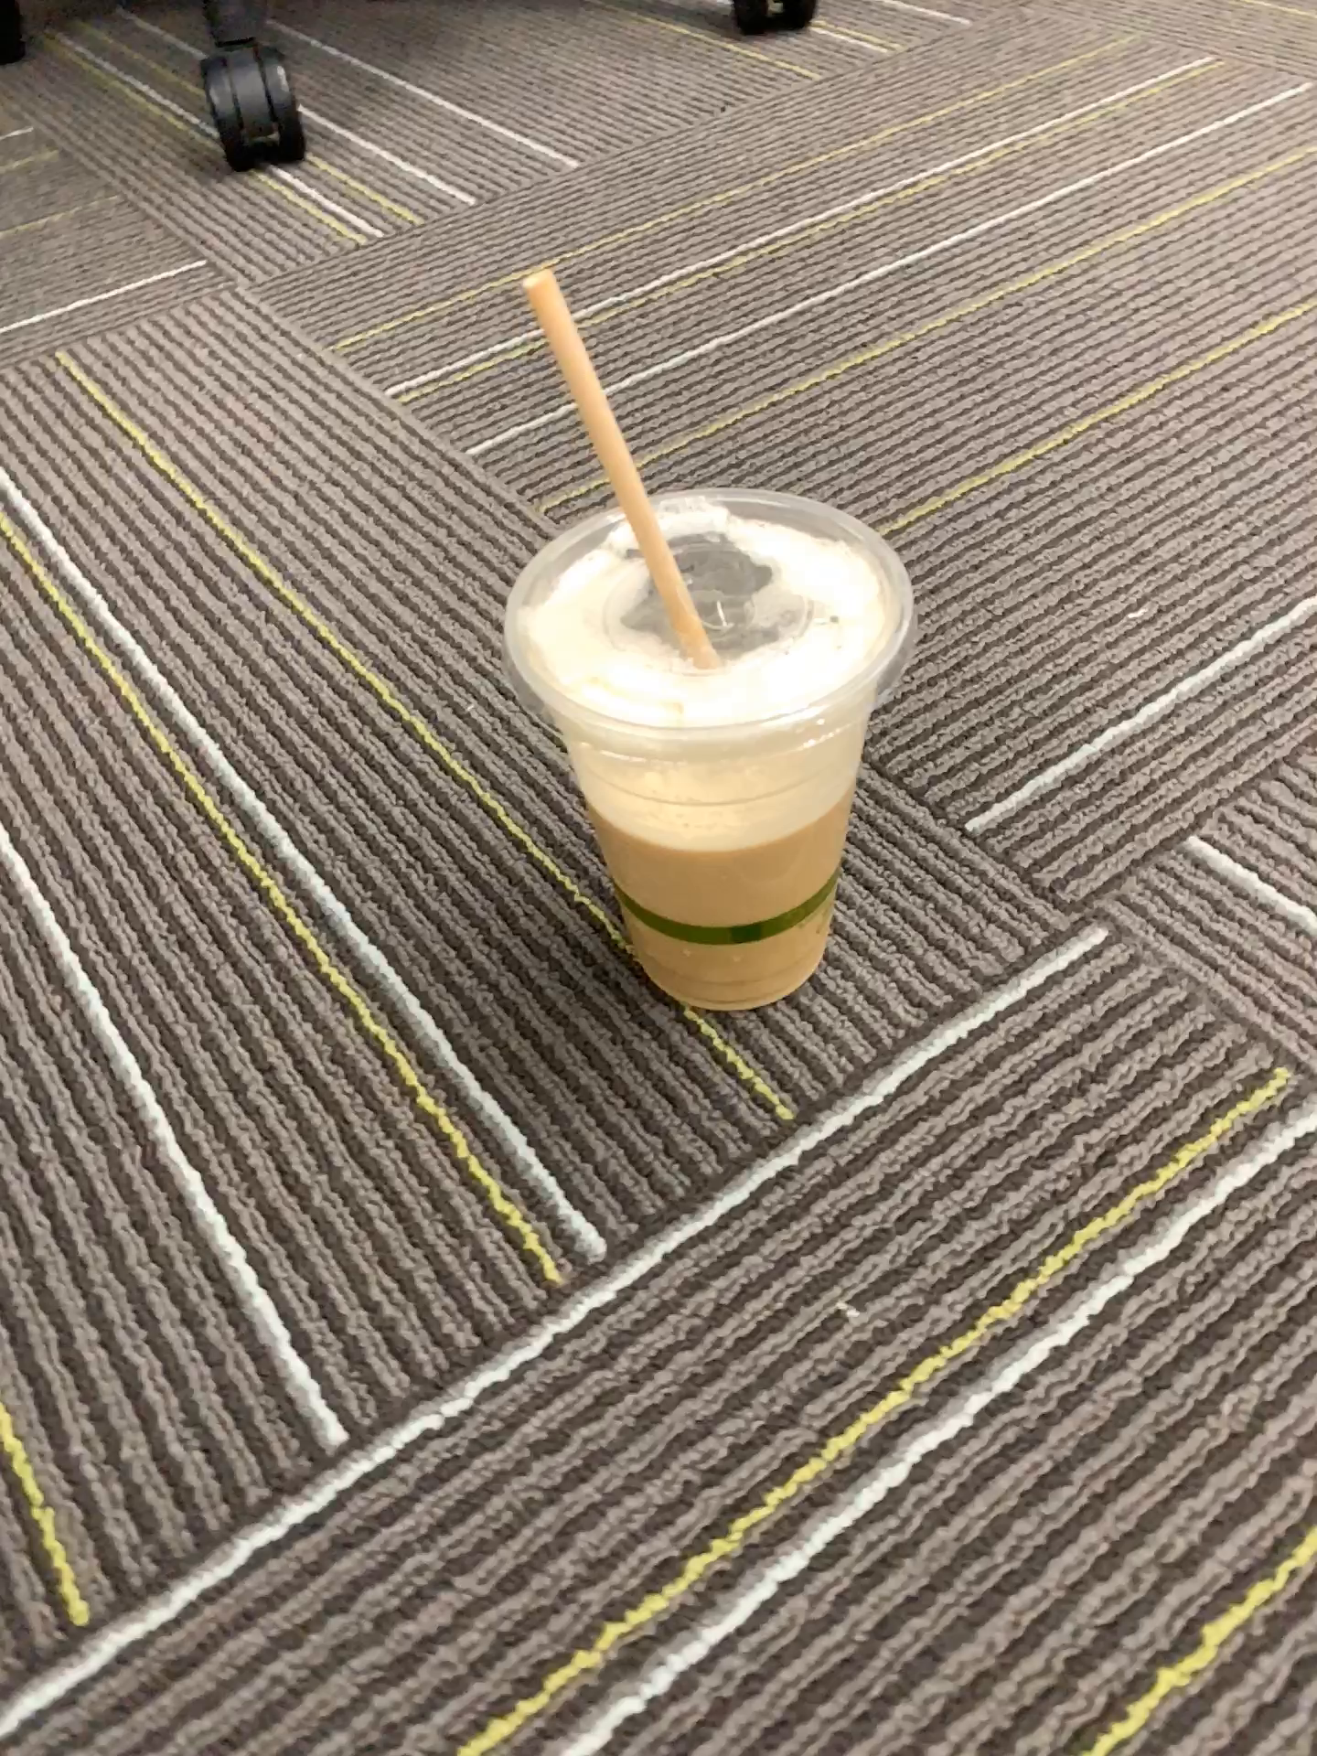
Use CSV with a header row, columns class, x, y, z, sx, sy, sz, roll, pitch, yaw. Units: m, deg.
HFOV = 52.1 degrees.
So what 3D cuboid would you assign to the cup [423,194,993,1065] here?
class,x,y,z,sx,sy,sz,roll,pitch,yaw
cup,0.012,-0.051,0.333,0.100,0.179,0.090,-10,46,-2
